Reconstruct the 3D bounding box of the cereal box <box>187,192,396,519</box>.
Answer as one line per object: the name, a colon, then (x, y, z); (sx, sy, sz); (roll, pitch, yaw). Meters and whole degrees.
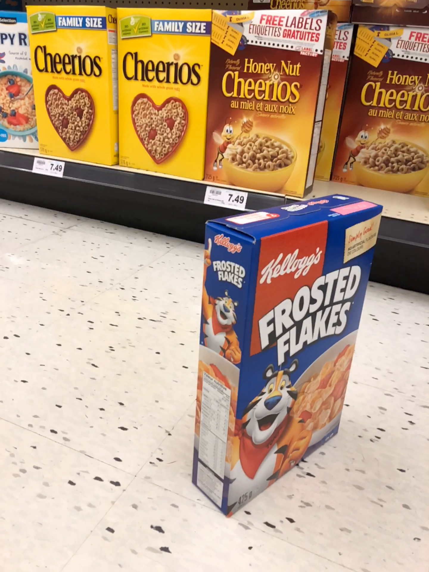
cereal box: (0.077, 0.064, 0.494); (0.201, 0.288, 0.070); (-18, 32, -40)
